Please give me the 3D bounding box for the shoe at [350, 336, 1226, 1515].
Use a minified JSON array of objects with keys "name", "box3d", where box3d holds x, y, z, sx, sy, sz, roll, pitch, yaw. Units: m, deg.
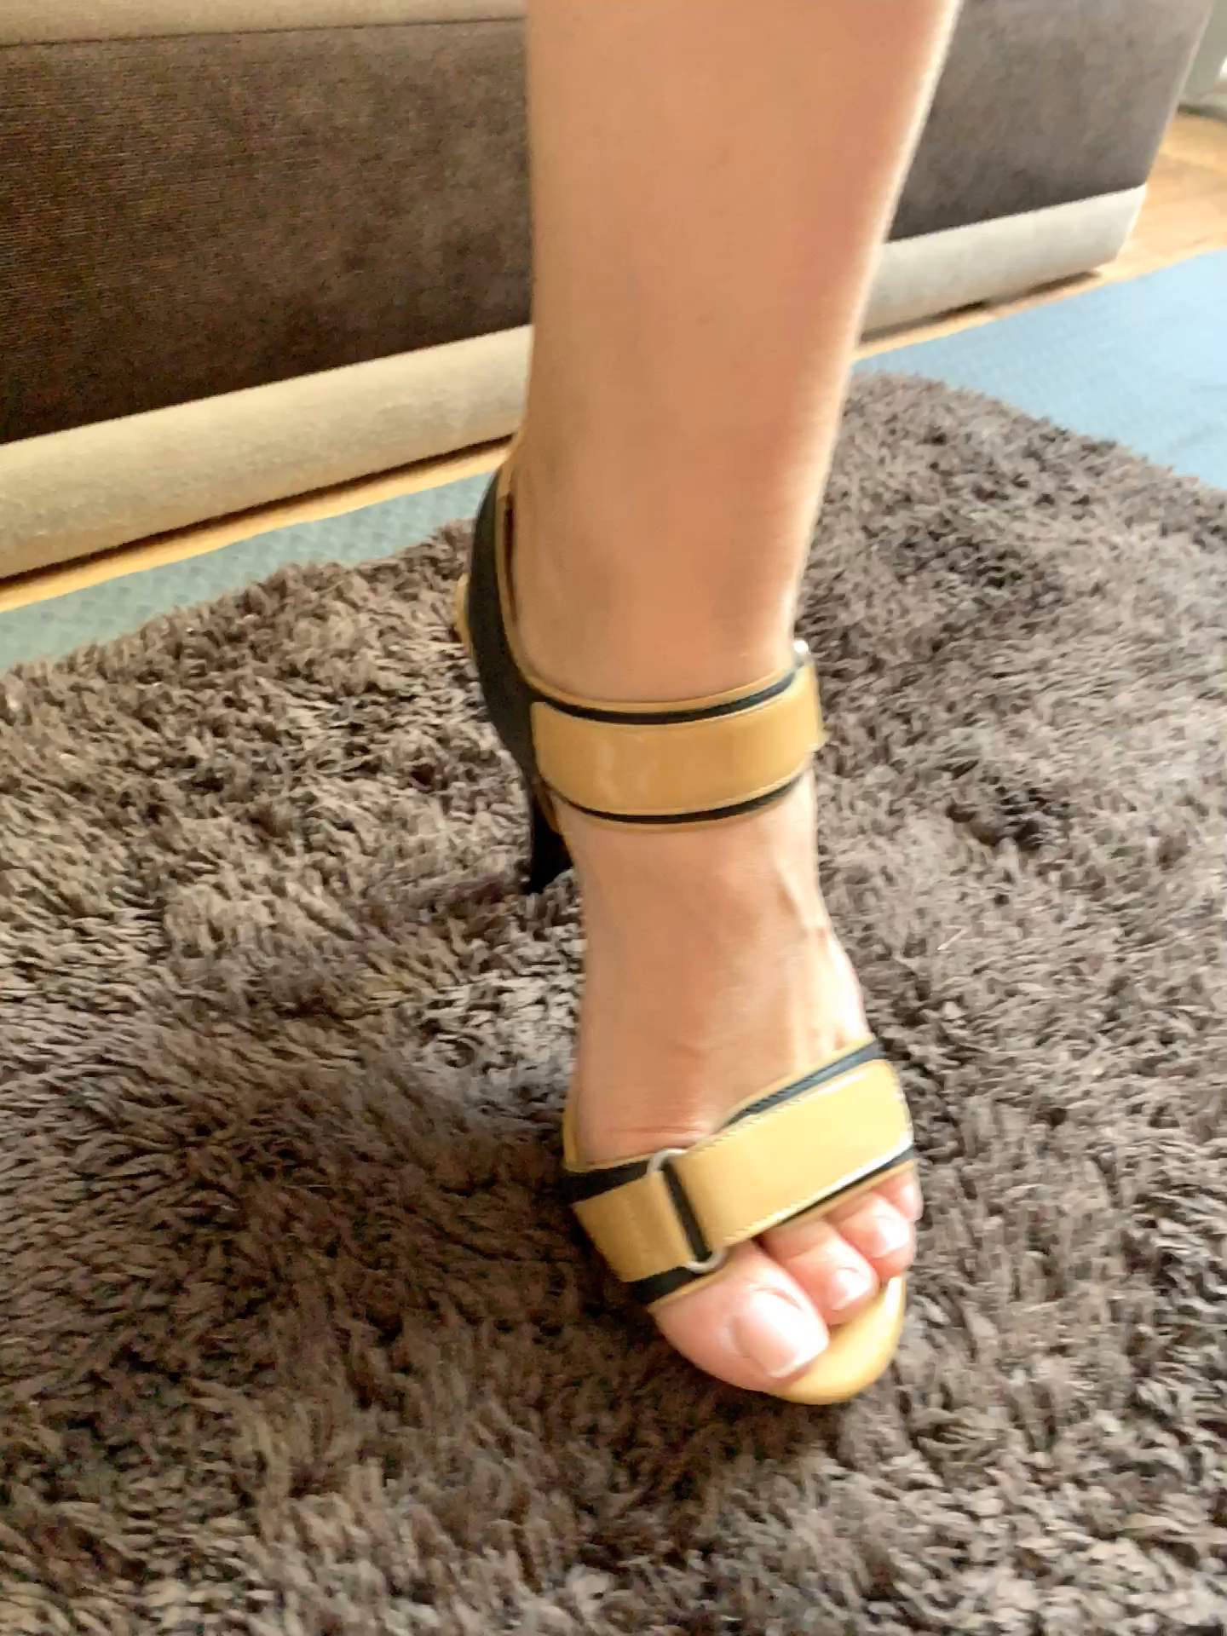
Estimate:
[{"name":"shoe","box3d":[0.021,0.008,0.283,0.090,0.149,0.201,-15,45,-24]}]
